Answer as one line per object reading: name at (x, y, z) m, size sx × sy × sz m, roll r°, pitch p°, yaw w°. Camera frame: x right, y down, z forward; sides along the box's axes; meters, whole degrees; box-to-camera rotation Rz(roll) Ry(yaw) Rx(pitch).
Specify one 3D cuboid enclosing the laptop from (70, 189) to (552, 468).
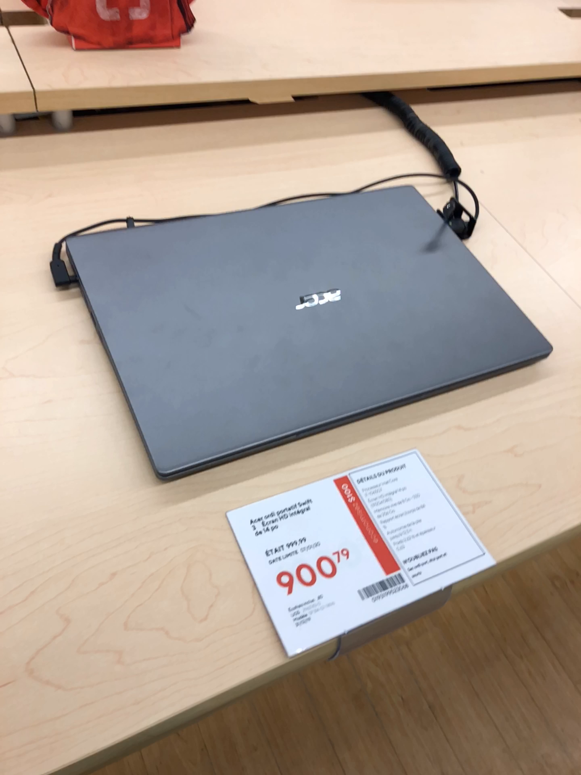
laptop at (0.020, -0.068, 0.474) m, size 0.307 × 0.001 × 0.201 m, roll -15°, pitch 57°, yaw -24°
